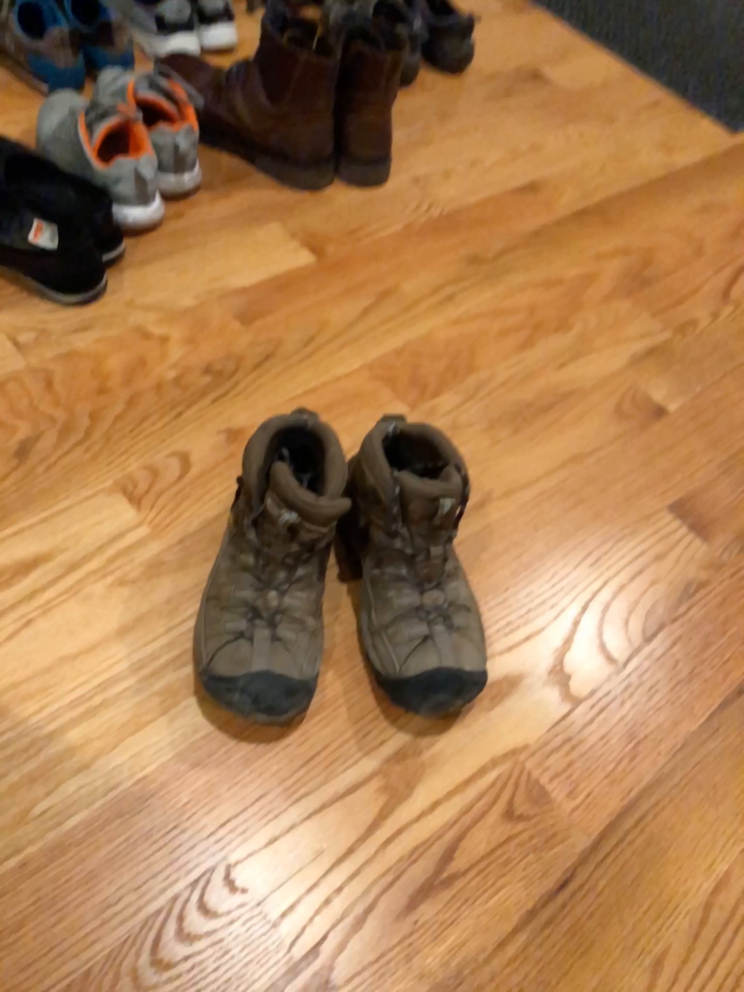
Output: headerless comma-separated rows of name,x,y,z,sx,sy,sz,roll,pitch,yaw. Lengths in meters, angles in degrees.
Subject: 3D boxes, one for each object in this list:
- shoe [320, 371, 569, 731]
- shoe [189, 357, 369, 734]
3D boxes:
shoe,0.044,0.039,0.688,0.107,0.139,0.260,-4,54,-17
shoe,-0.071,0.036,0.660,0.107,0.139,0.260,8,51,-8
